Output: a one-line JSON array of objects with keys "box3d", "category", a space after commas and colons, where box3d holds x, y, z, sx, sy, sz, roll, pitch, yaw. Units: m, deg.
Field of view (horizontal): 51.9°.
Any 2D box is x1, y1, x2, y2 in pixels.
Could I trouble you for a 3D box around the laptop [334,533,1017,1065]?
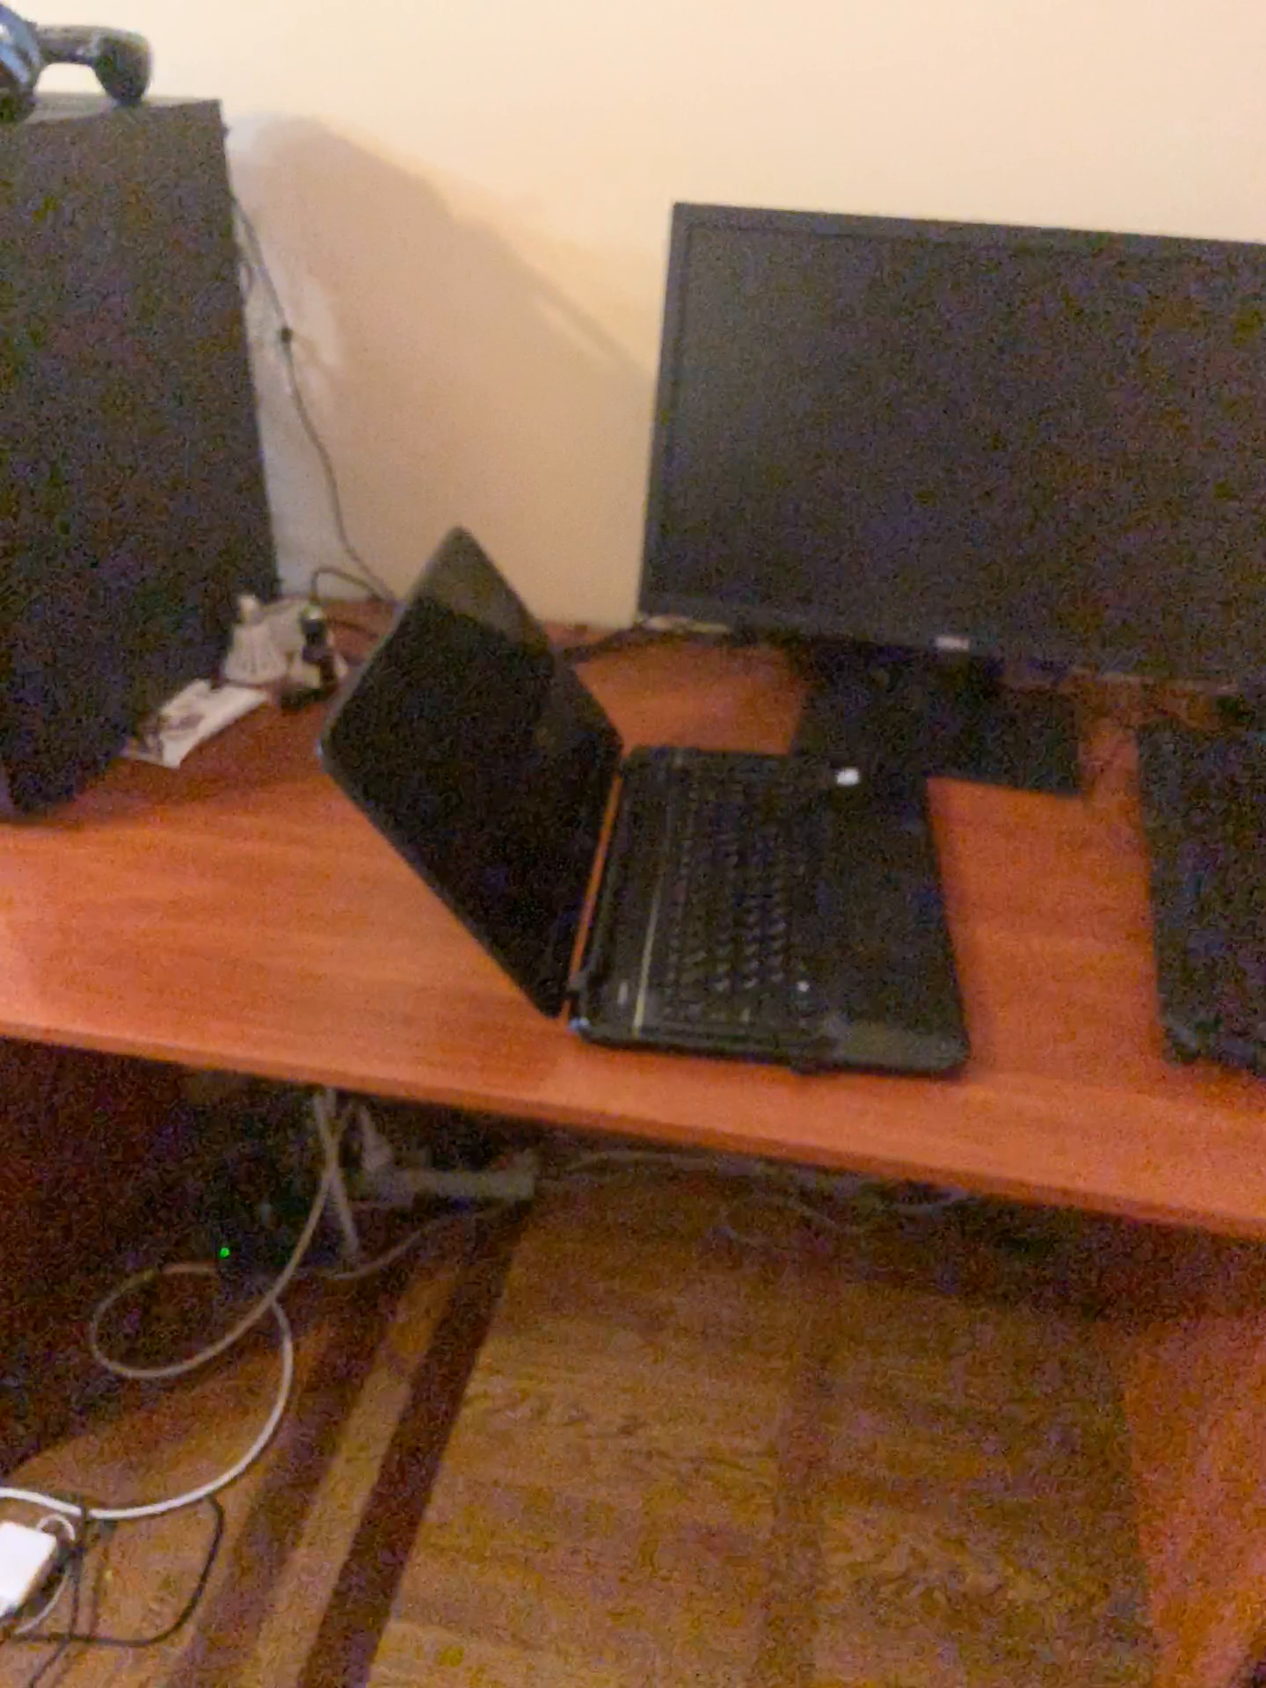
[{"box3d": [0.034, -0.057, 0.898, 0.368, 0.181, 0.368, 4, 32, 6], "category": "laptop"}]
